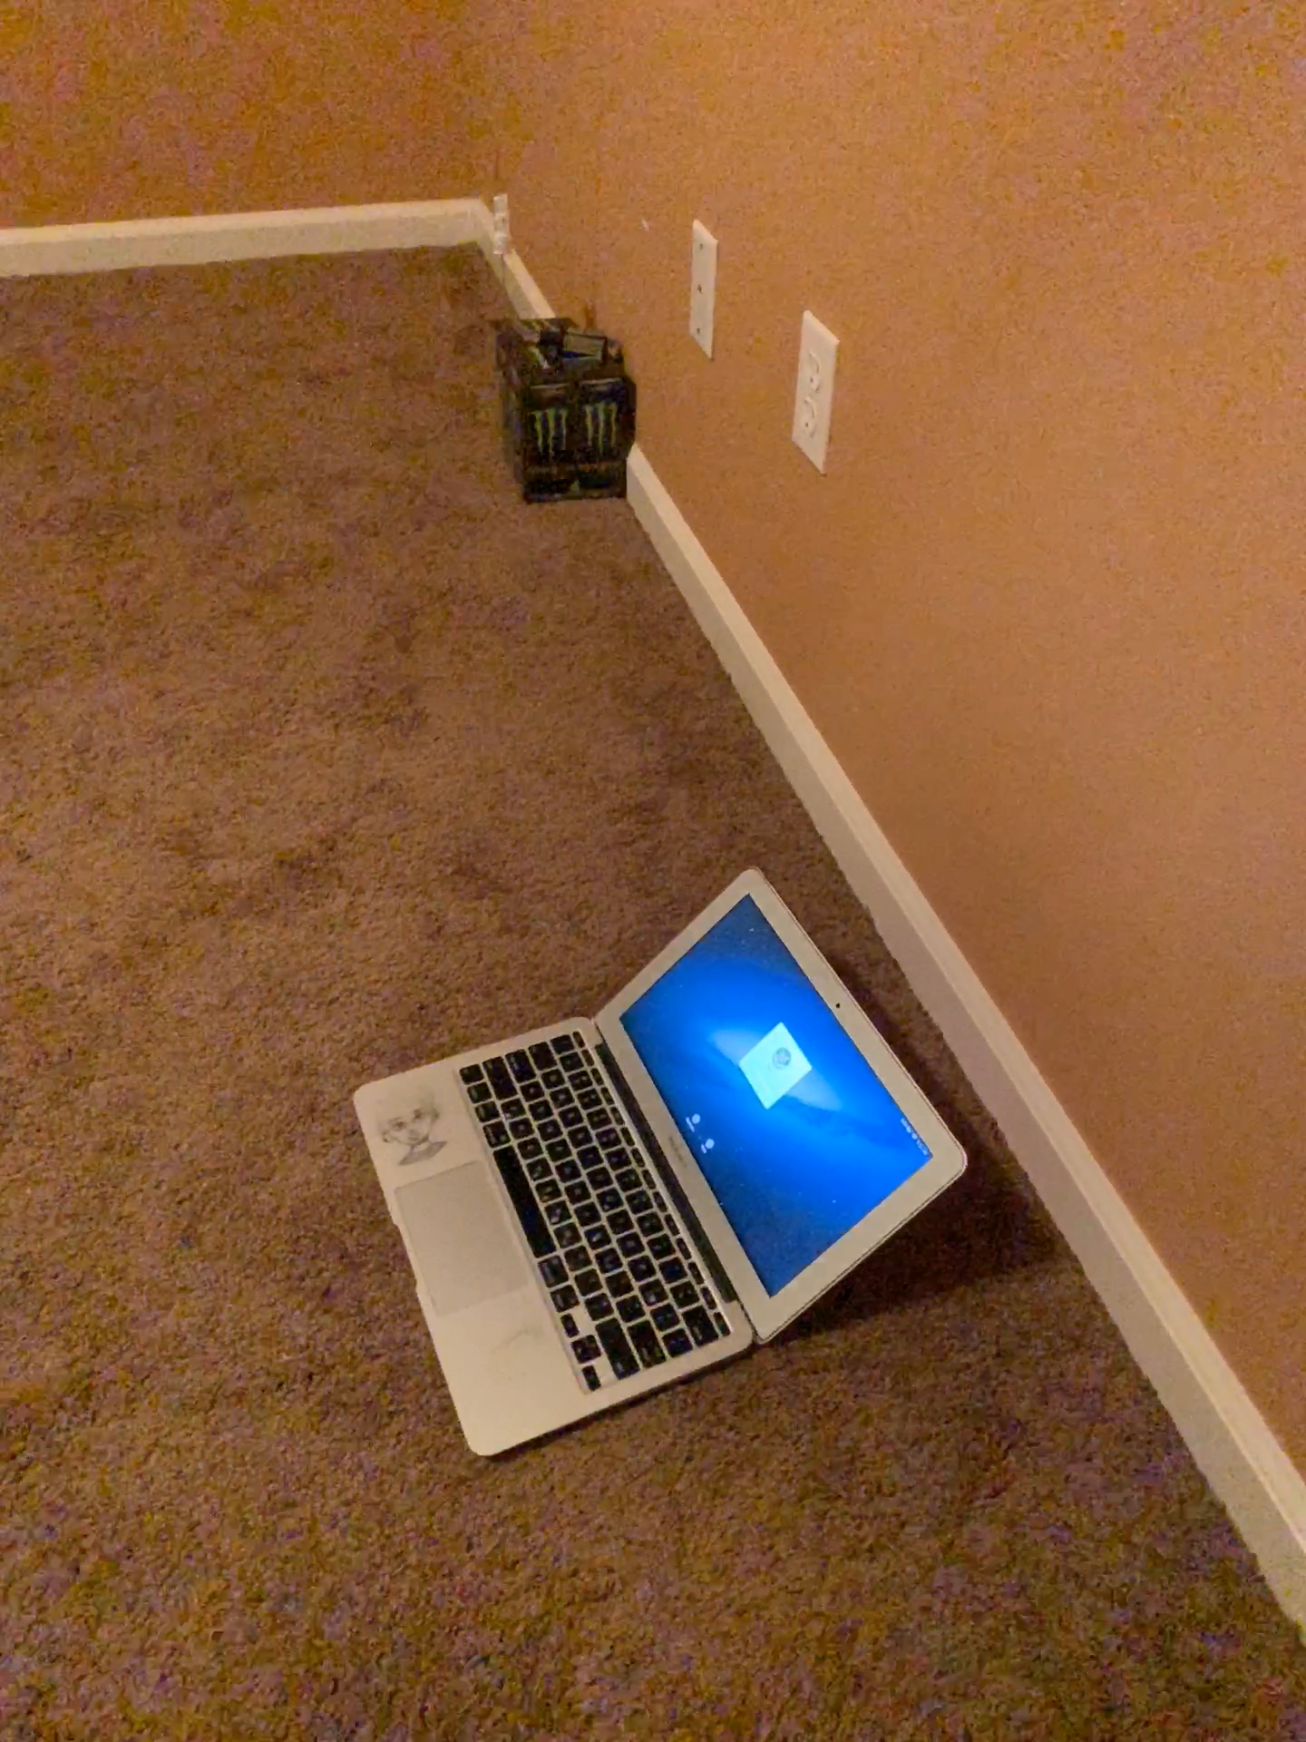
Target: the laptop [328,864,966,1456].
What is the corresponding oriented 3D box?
[{"bbox_3d":[-0.017,0.172,0.910,0.324,0.116,0.300,-15,45,-18],"label":"laptop"}]
